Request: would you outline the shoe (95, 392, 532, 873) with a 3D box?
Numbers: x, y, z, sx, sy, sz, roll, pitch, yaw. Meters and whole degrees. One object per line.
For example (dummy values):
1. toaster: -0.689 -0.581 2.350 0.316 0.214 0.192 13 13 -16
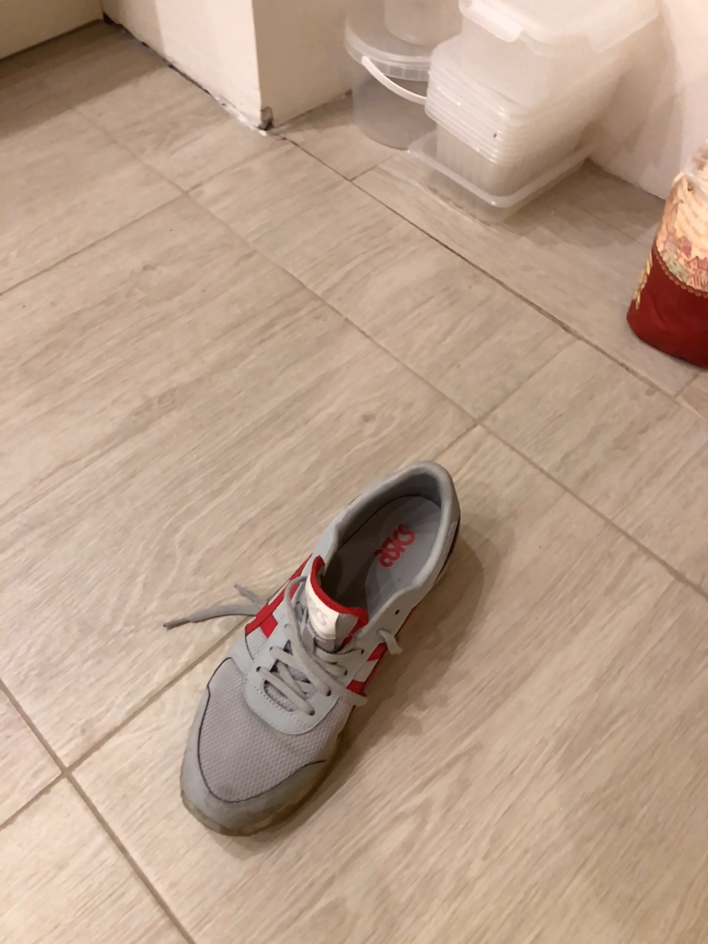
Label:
1. shoe: -0.013 0.103 0.542 0.110 0.129 0.299 33 62 19
